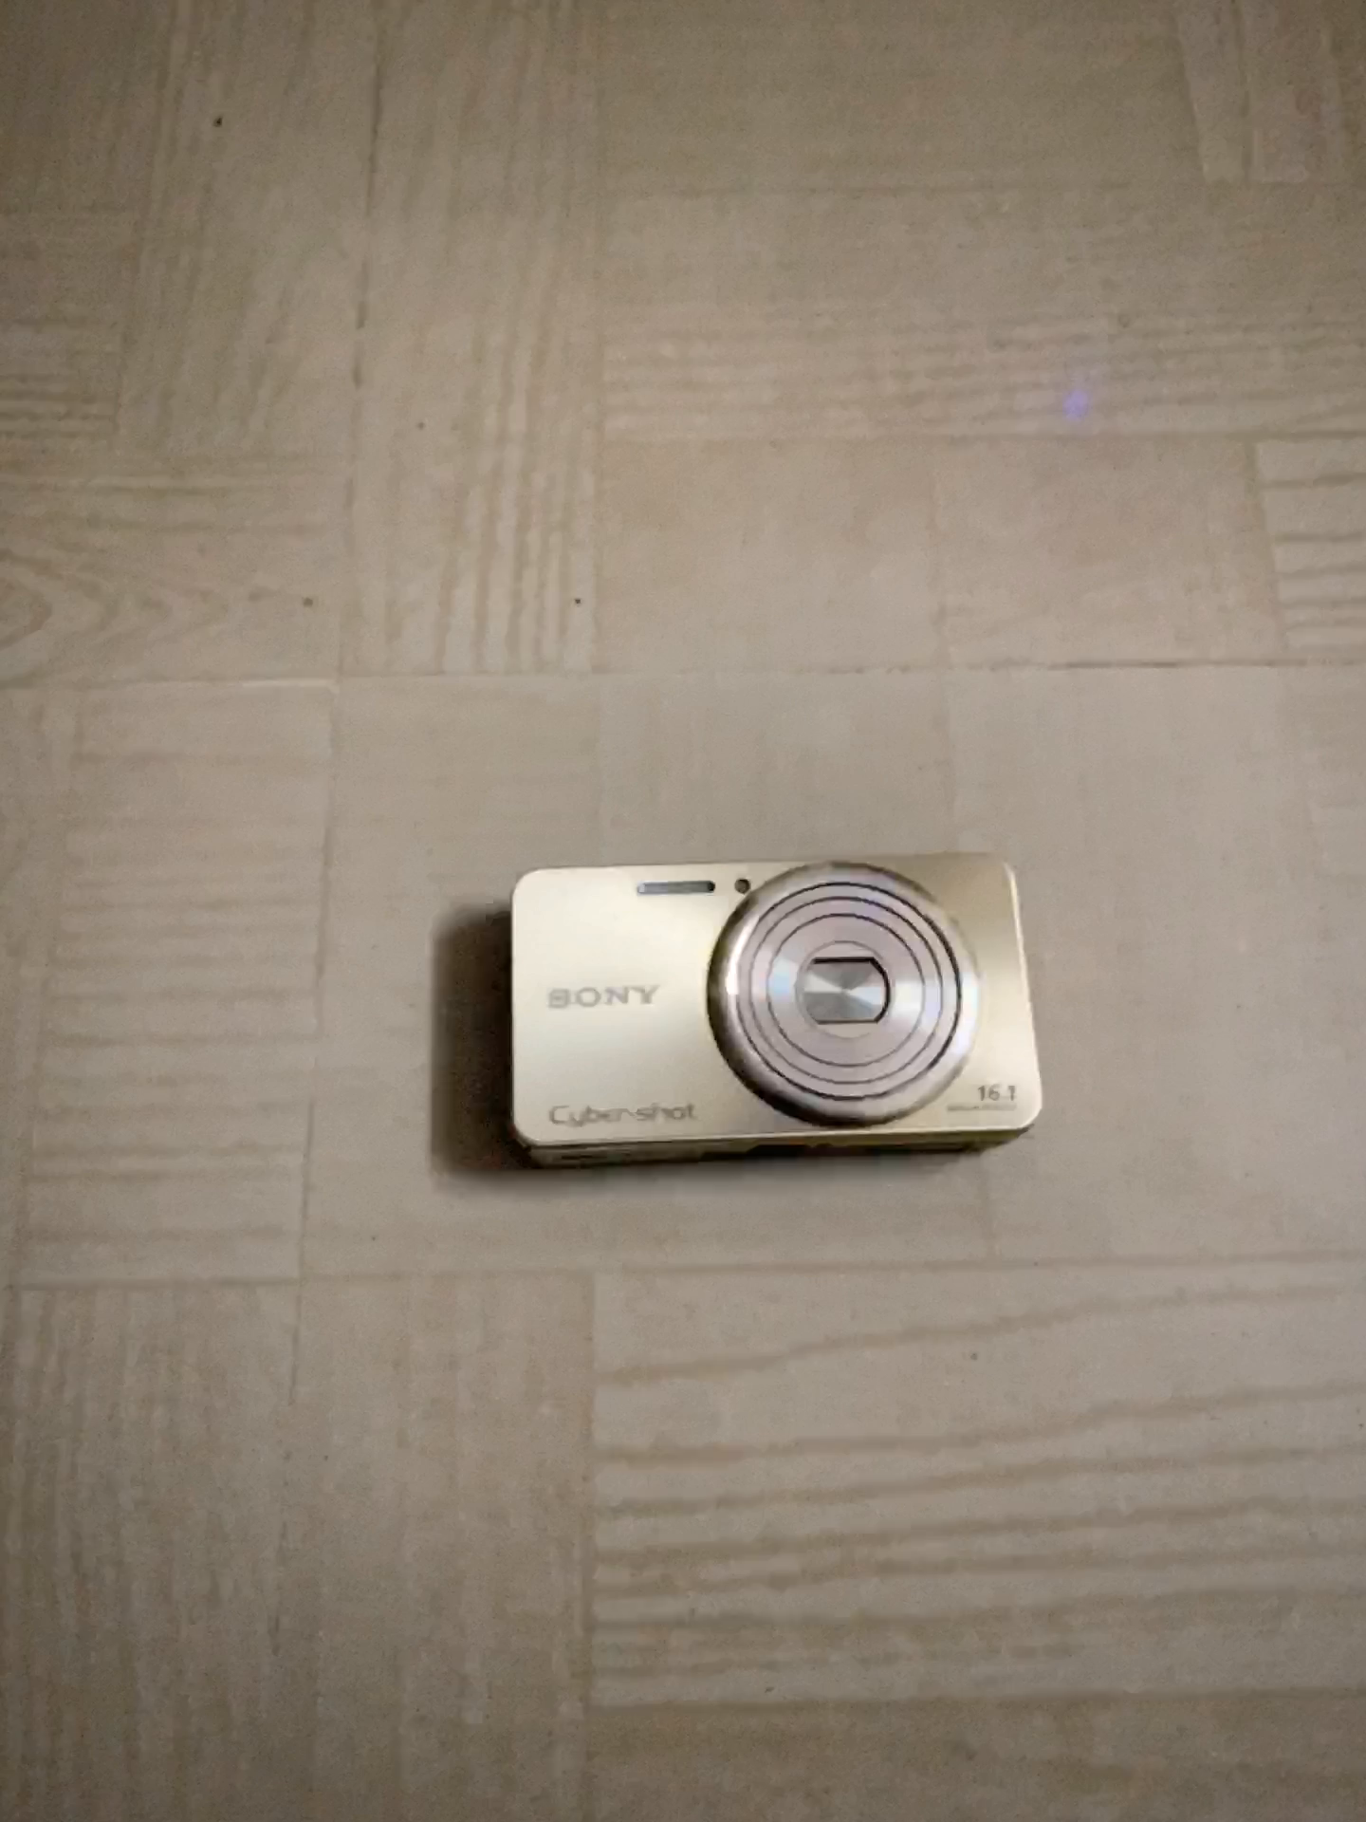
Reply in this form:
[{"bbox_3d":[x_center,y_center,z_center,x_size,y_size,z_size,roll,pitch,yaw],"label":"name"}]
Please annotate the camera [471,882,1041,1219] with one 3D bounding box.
[{"bbox_3d":[0.012,0.025,0.261,0.097,0.019,0.057,-1,71,-2],"label":"camera"}]
